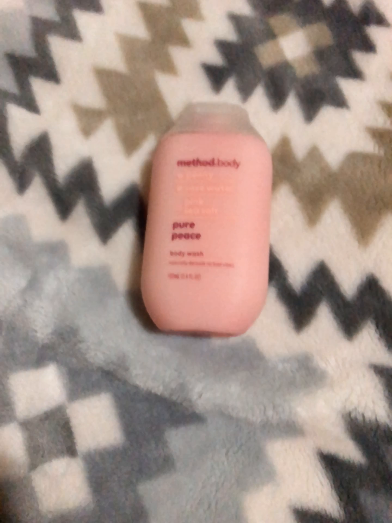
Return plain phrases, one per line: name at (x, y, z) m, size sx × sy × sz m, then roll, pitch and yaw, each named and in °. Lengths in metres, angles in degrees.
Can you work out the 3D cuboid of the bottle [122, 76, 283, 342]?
bottle at (0.006, -0.023, 0.197) m, size 0.057 × 0.030 × 0.110 m, roll 4°, pitch 78°, yaw 6°
